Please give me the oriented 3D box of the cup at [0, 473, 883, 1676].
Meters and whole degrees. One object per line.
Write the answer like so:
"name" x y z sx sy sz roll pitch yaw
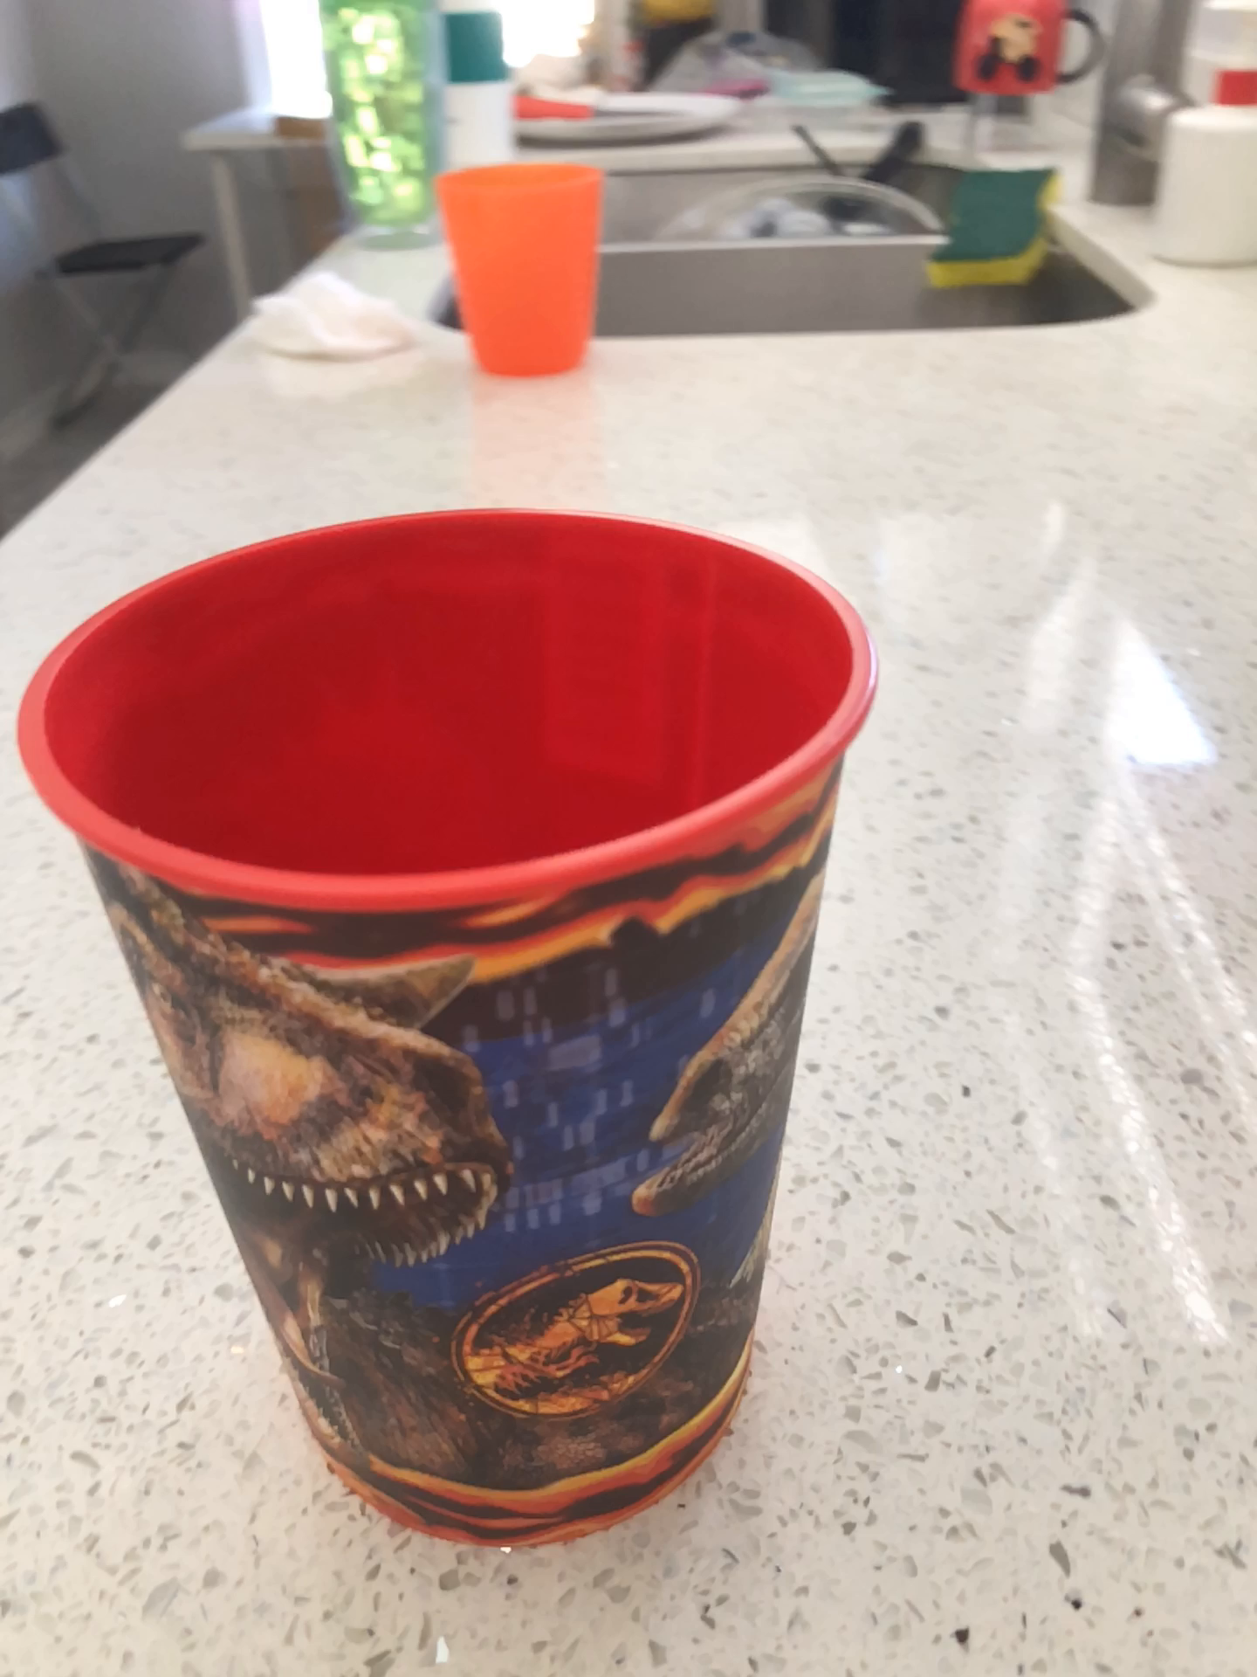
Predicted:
"cup" -0.019 0.023 0.177 0.090 0.110 0.090 -2 32 1
